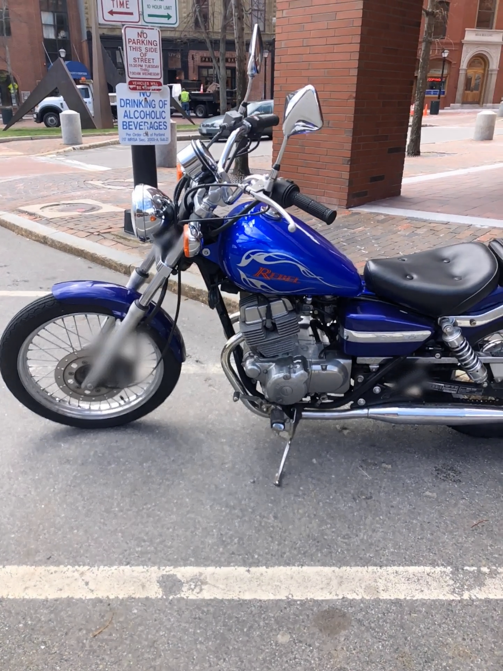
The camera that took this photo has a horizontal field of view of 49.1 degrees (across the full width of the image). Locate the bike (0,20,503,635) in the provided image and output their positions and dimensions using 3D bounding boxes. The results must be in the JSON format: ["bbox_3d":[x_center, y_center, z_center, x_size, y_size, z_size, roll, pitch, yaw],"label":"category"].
[{"bbox_3d":[0.244,-0.048,1.585,2.025,1.179,0.930,1,23,-8],"label":"bike"}]
